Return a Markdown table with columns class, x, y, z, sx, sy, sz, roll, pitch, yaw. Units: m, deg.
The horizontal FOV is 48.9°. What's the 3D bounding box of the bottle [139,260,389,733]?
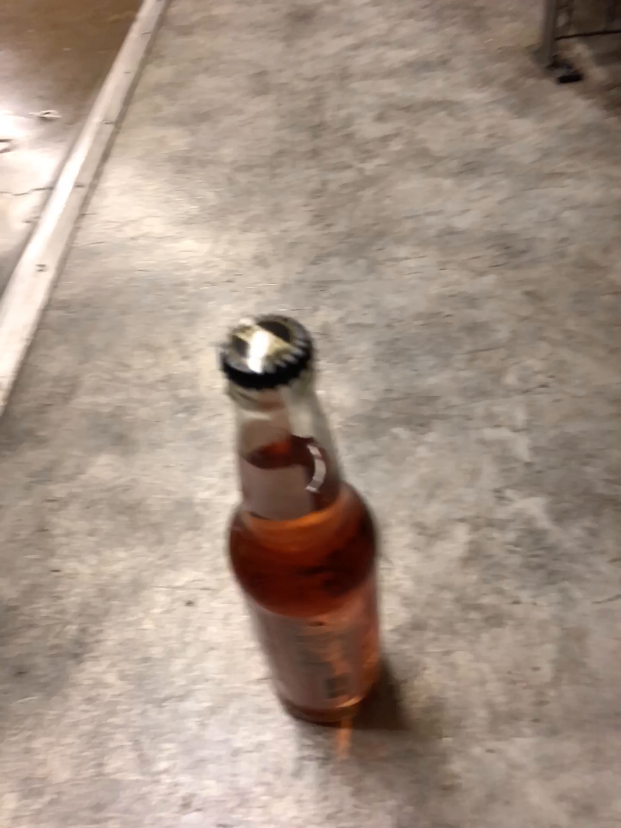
| class | x | y | z | sx | sy | sz | roll | pitch | yaw |
| --- | --- | --- | --- | --- | --- | --- | --- | --- | --- |
| bottle | -0.005 | 0.054 | 0.271 | 0.060 | 0.222 | 0.062 | -4 | 47 | 4 |
